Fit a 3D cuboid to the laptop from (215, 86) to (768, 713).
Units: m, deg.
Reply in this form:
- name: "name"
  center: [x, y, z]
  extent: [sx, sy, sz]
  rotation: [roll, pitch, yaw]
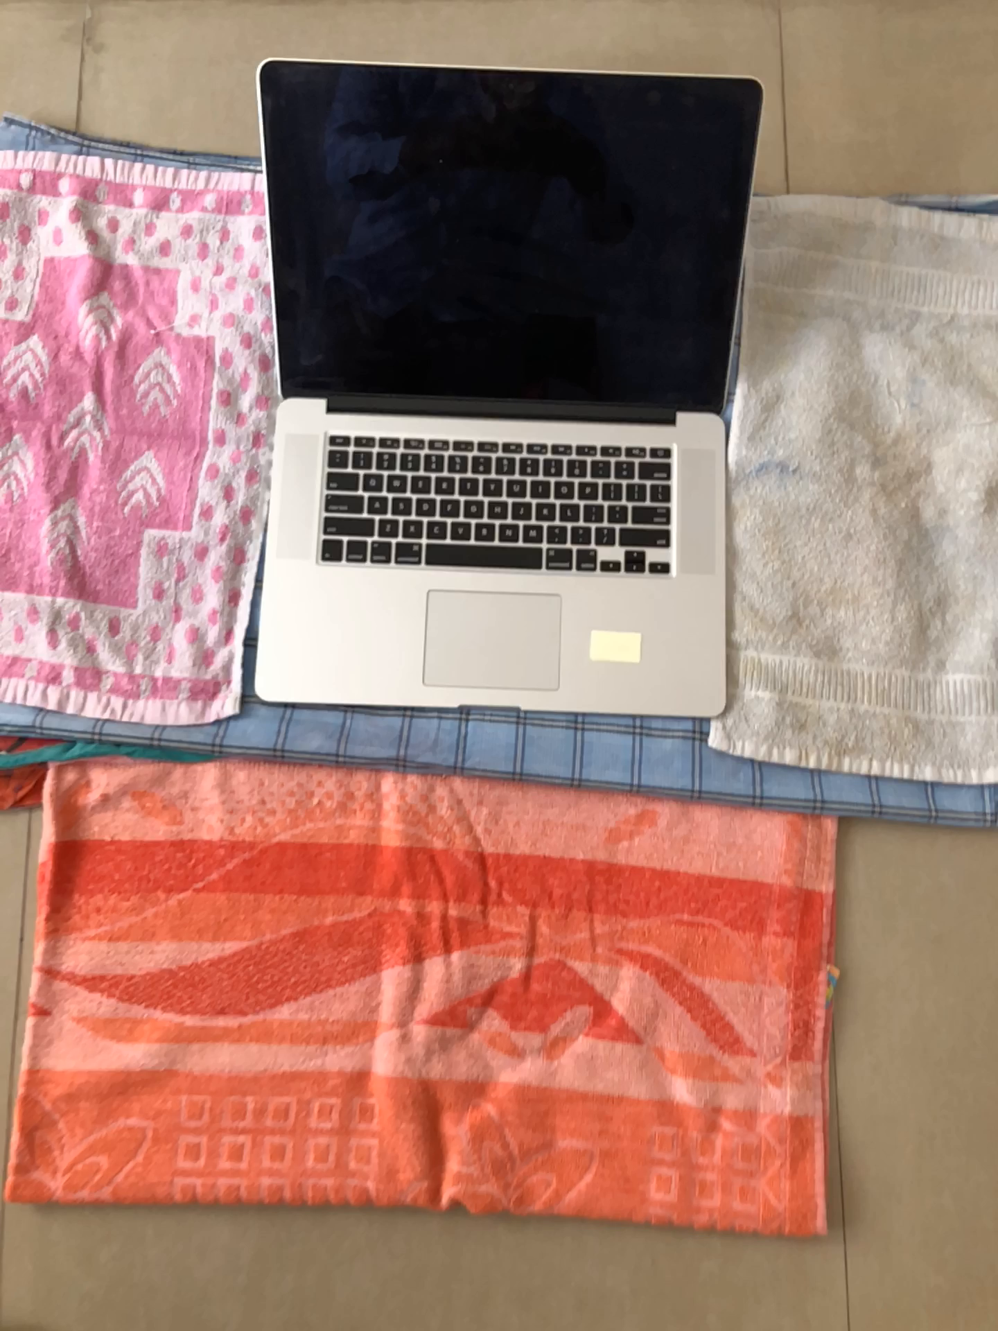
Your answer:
- name: "laptop"
  center: [0.003, -0.184, 0.792]
  extent: [0.343, 0.144, 0.413]
  rotation: [2, 79, 2]
